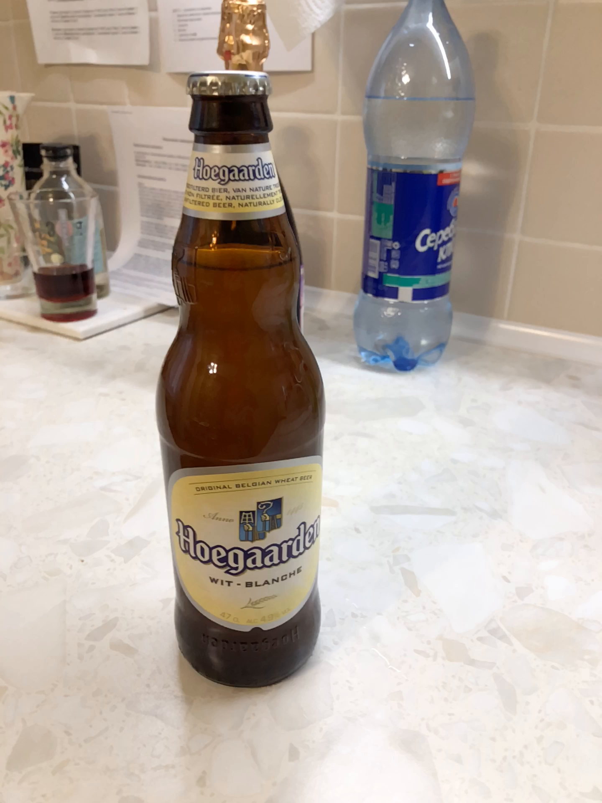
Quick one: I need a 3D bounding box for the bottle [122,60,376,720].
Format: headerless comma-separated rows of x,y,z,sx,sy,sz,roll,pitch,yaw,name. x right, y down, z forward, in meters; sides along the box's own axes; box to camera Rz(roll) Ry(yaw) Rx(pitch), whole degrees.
-0.021,0.003,0.271,0.070,0.248,0.080,-3,25,-8,bottle
